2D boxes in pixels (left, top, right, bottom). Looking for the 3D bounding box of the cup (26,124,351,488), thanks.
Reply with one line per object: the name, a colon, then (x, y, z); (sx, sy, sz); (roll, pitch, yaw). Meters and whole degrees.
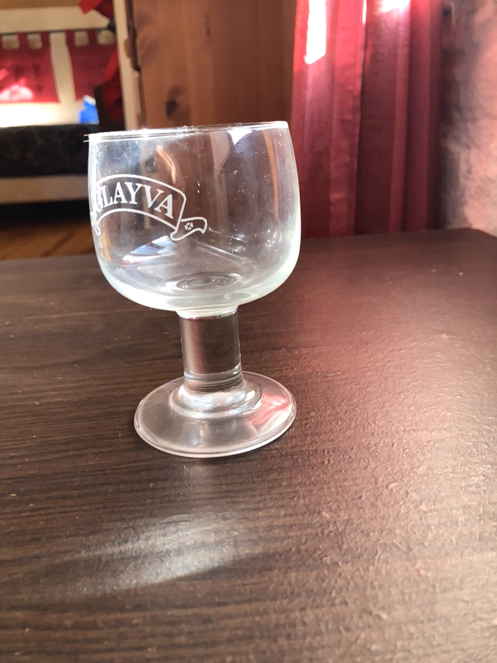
cup: (-0.014, -0.020, 0.211); (0.077, 0.107, 0.086); (9, 23, 28)
